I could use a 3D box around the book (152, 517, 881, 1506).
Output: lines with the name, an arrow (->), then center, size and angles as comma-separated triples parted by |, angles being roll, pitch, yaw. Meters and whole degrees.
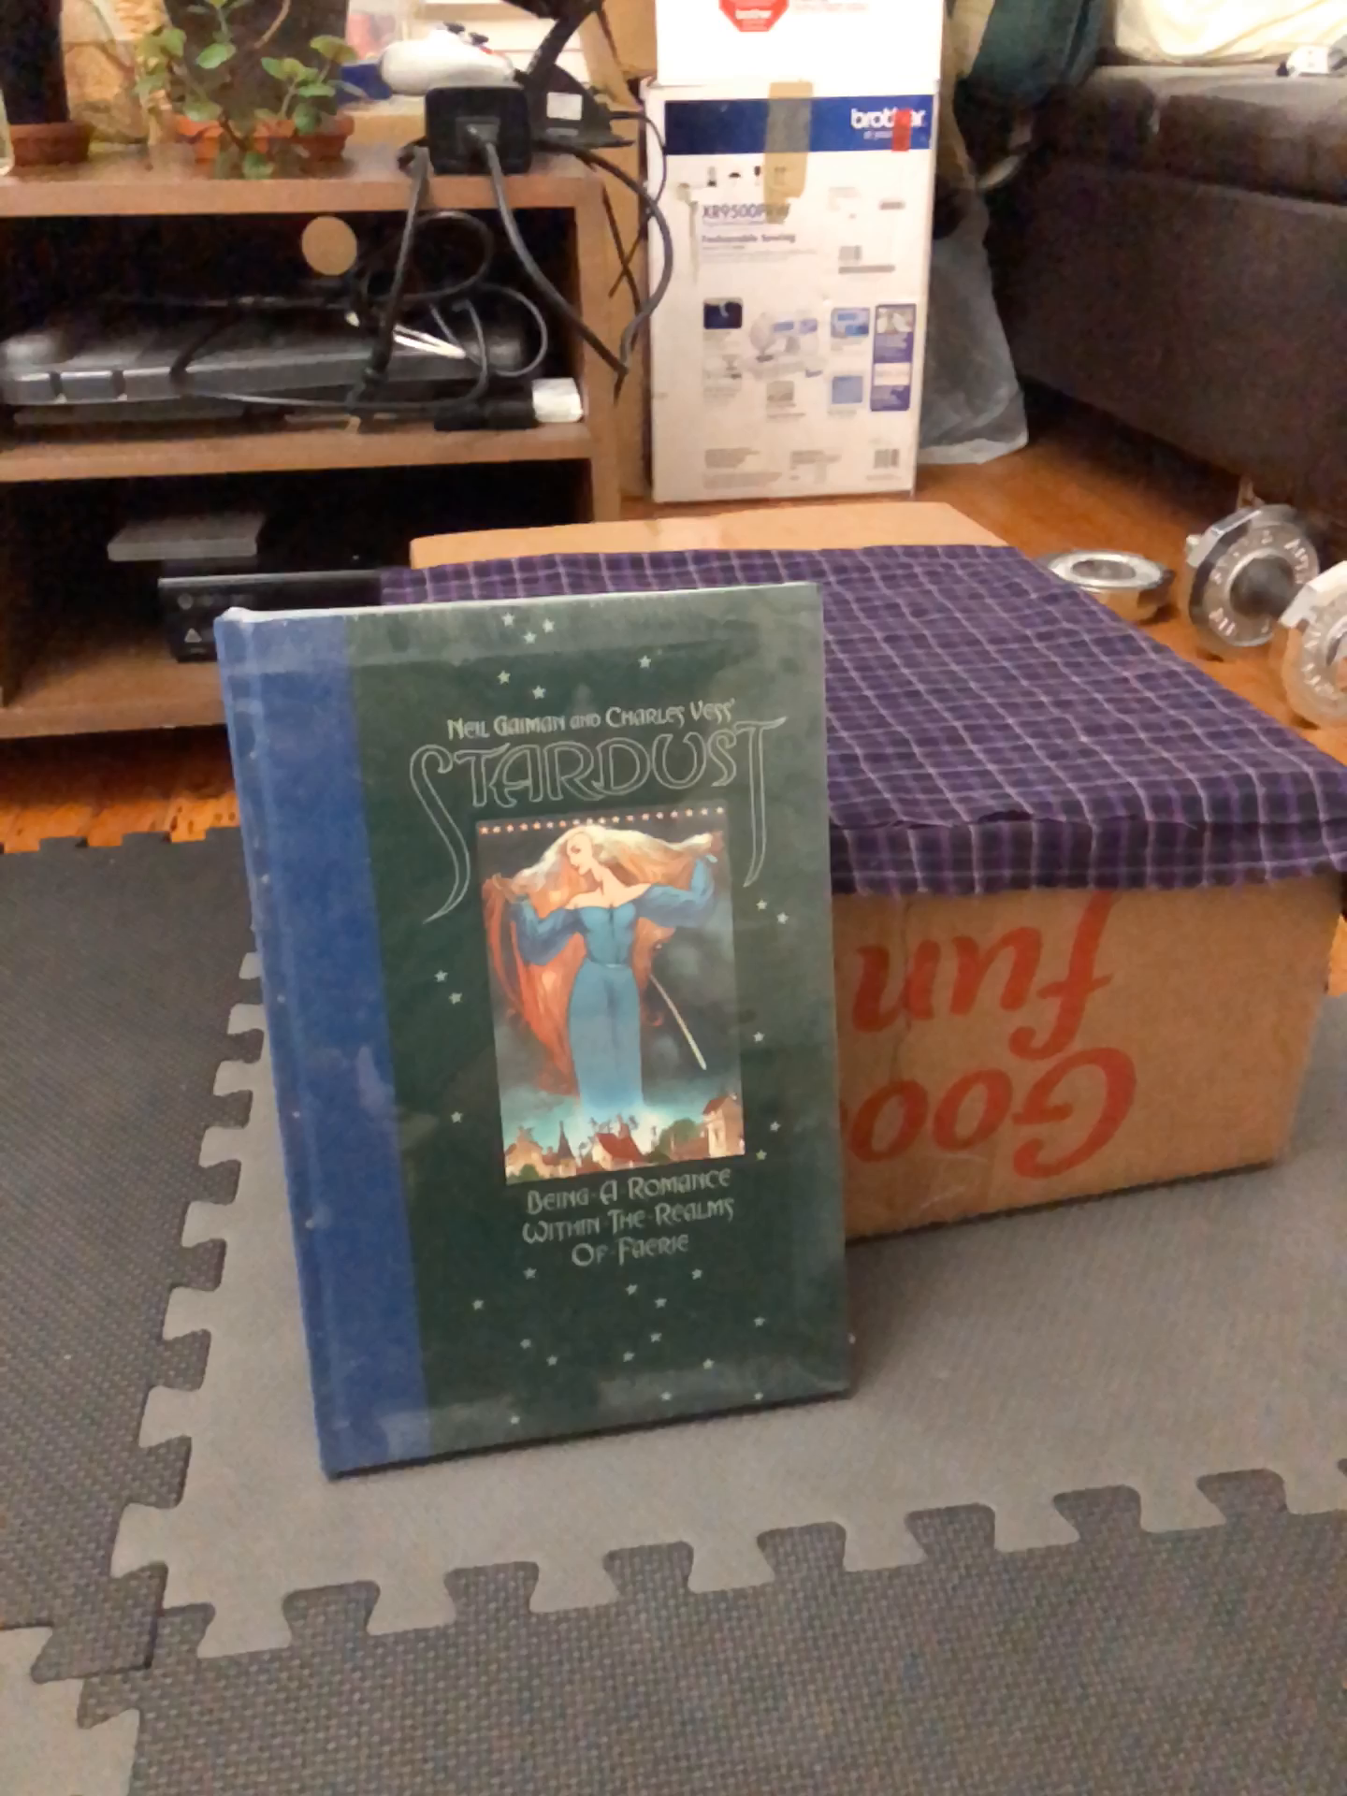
book -> -0.044, 0.040, 0.532 | 0.220, 0.329, 0.050 | -7, 15, -10
